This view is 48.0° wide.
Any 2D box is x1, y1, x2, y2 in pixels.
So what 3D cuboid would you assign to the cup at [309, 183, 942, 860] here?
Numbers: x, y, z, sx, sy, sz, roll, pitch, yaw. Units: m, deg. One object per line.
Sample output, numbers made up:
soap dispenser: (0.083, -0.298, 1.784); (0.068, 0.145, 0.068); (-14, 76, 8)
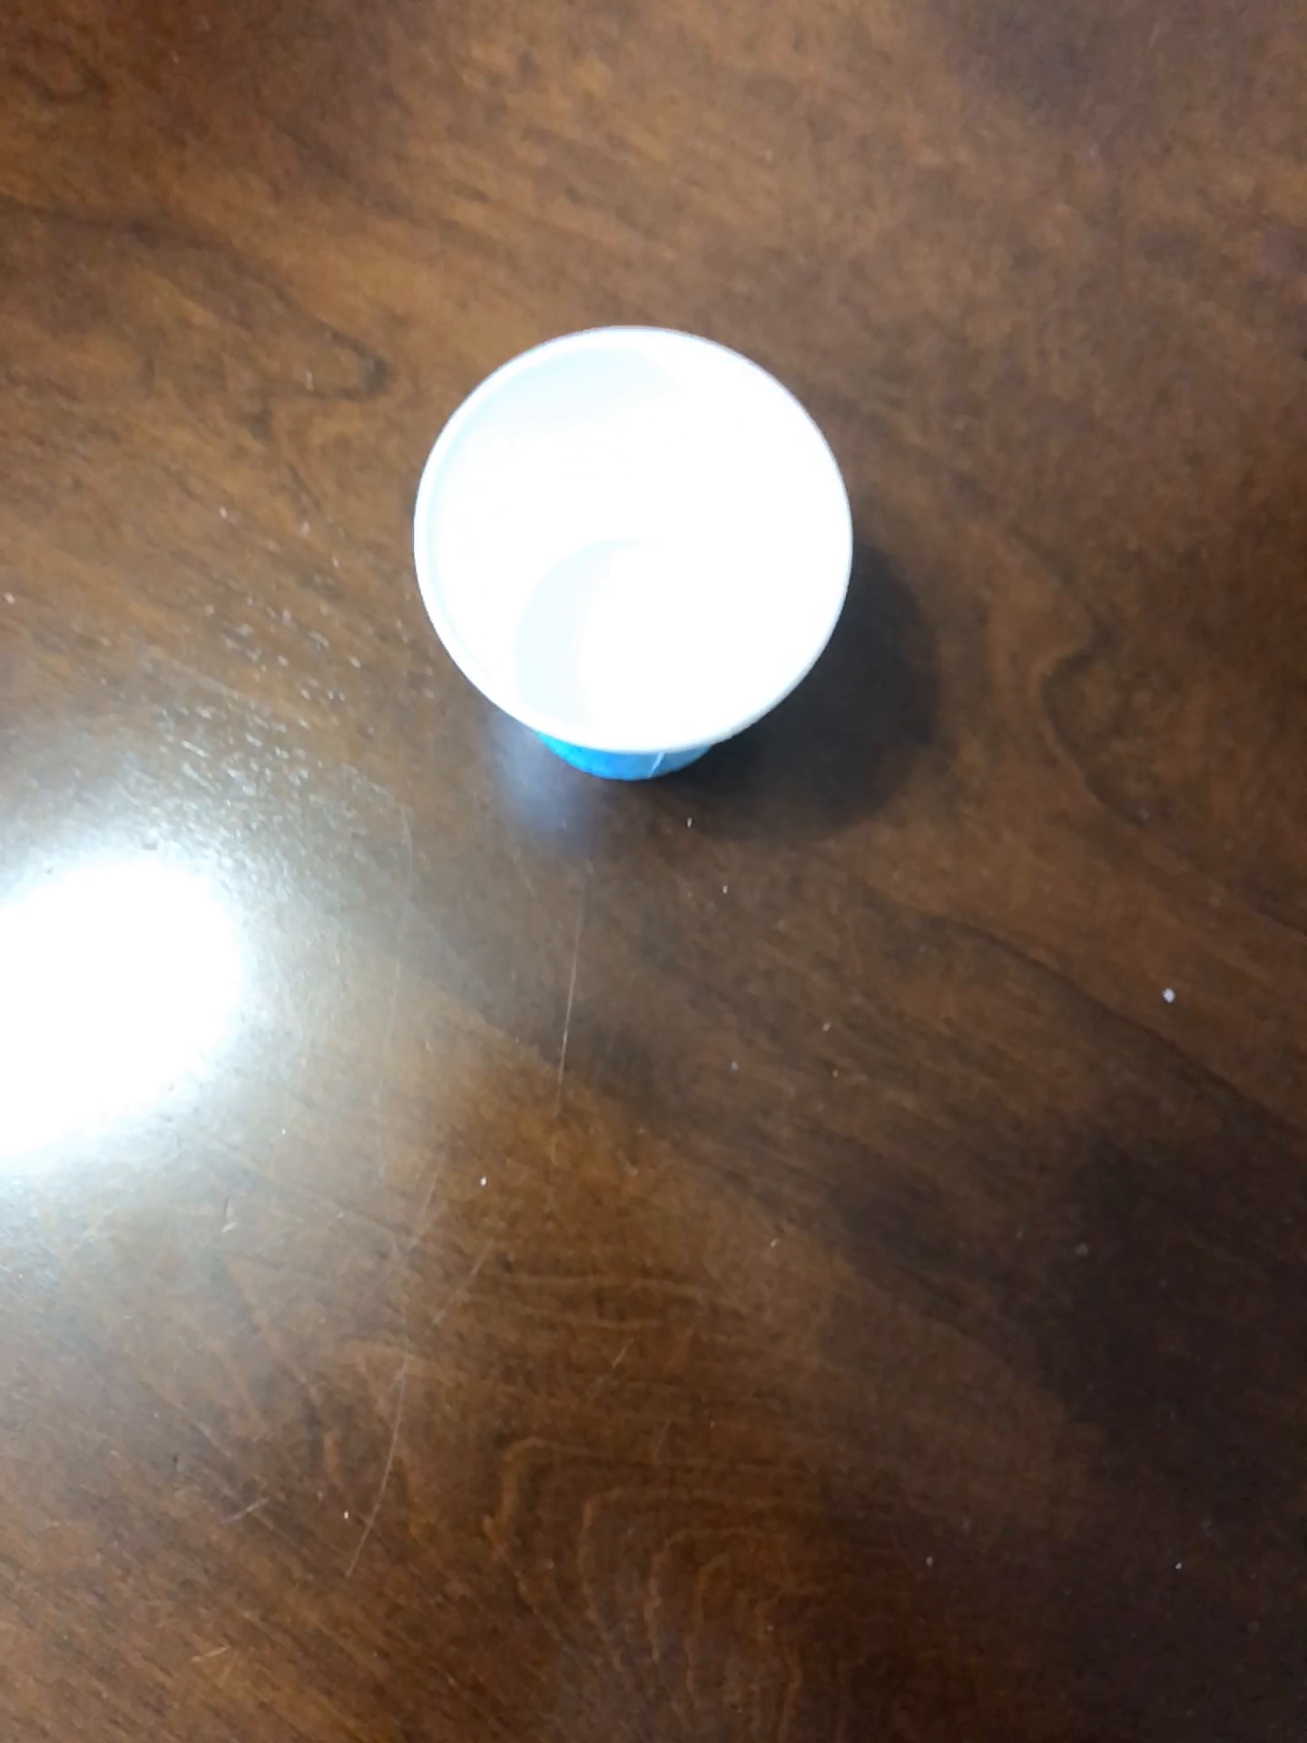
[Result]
cup: (-0.004, -0.047, 0.221); (0.060, 0.060, 0.060); (0, 81, -1)
